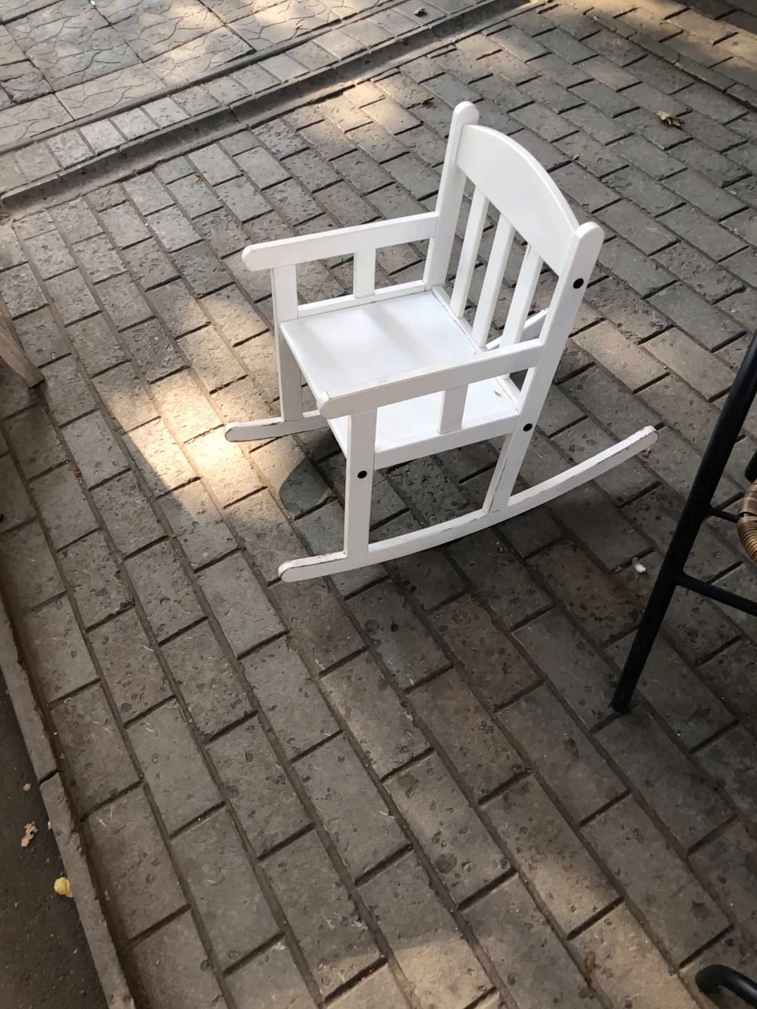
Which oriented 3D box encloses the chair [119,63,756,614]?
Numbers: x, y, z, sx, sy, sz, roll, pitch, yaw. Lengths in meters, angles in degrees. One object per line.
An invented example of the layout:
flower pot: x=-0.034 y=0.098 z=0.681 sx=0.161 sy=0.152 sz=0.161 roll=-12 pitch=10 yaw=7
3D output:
chair: x=0.085 y=-0.265 z=1.284 sx=0.750 sy=0.458 sz=0.441 roll=-22 pitch=53 yaw=-11
